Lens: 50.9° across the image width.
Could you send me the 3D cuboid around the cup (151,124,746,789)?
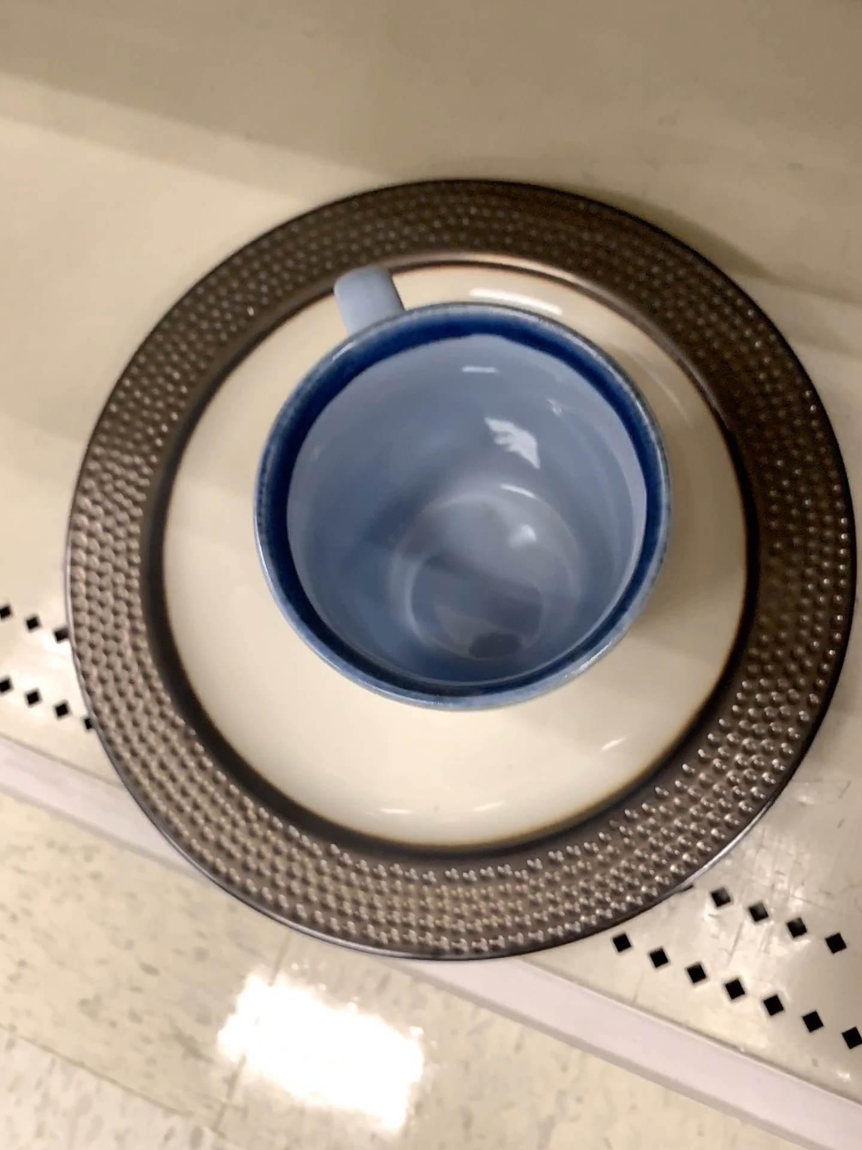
[{"bbox_3d":[0.005,-0.022,0.249,0.093,0.094,0.127,-23,78,4],"label":"cup"}]
